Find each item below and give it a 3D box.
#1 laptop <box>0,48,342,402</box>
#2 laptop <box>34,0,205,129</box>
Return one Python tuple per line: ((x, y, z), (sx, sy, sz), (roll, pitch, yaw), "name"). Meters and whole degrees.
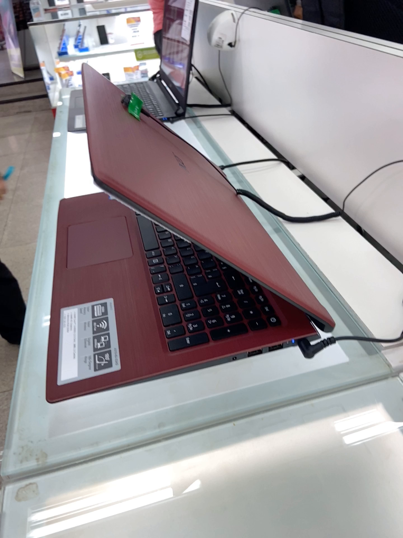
((-0.062, -0.094, 0.446), (0.238, 0.179, 0.369), (-12, 37, -8), "laptop")
((-0.191, -0.523, 0.981), (0.304, 0.230, 0.330), (-12, 38, -7), "laptop")
